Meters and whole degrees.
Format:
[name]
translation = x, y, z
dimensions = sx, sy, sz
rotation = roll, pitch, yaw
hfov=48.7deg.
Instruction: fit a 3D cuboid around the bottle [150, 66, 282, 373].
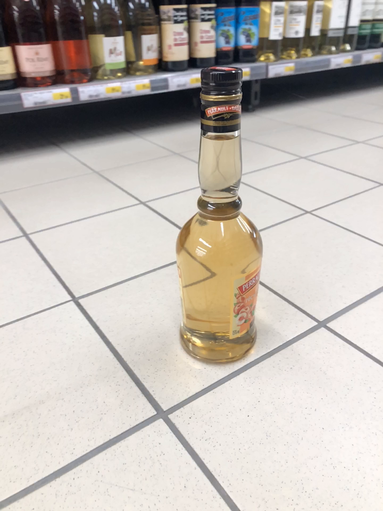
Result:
[bottle]
translation = 0.024, -0.025, 0.370
dimensions = 0.080, 0.249, 0.081
rotation = -1, 29, 1
